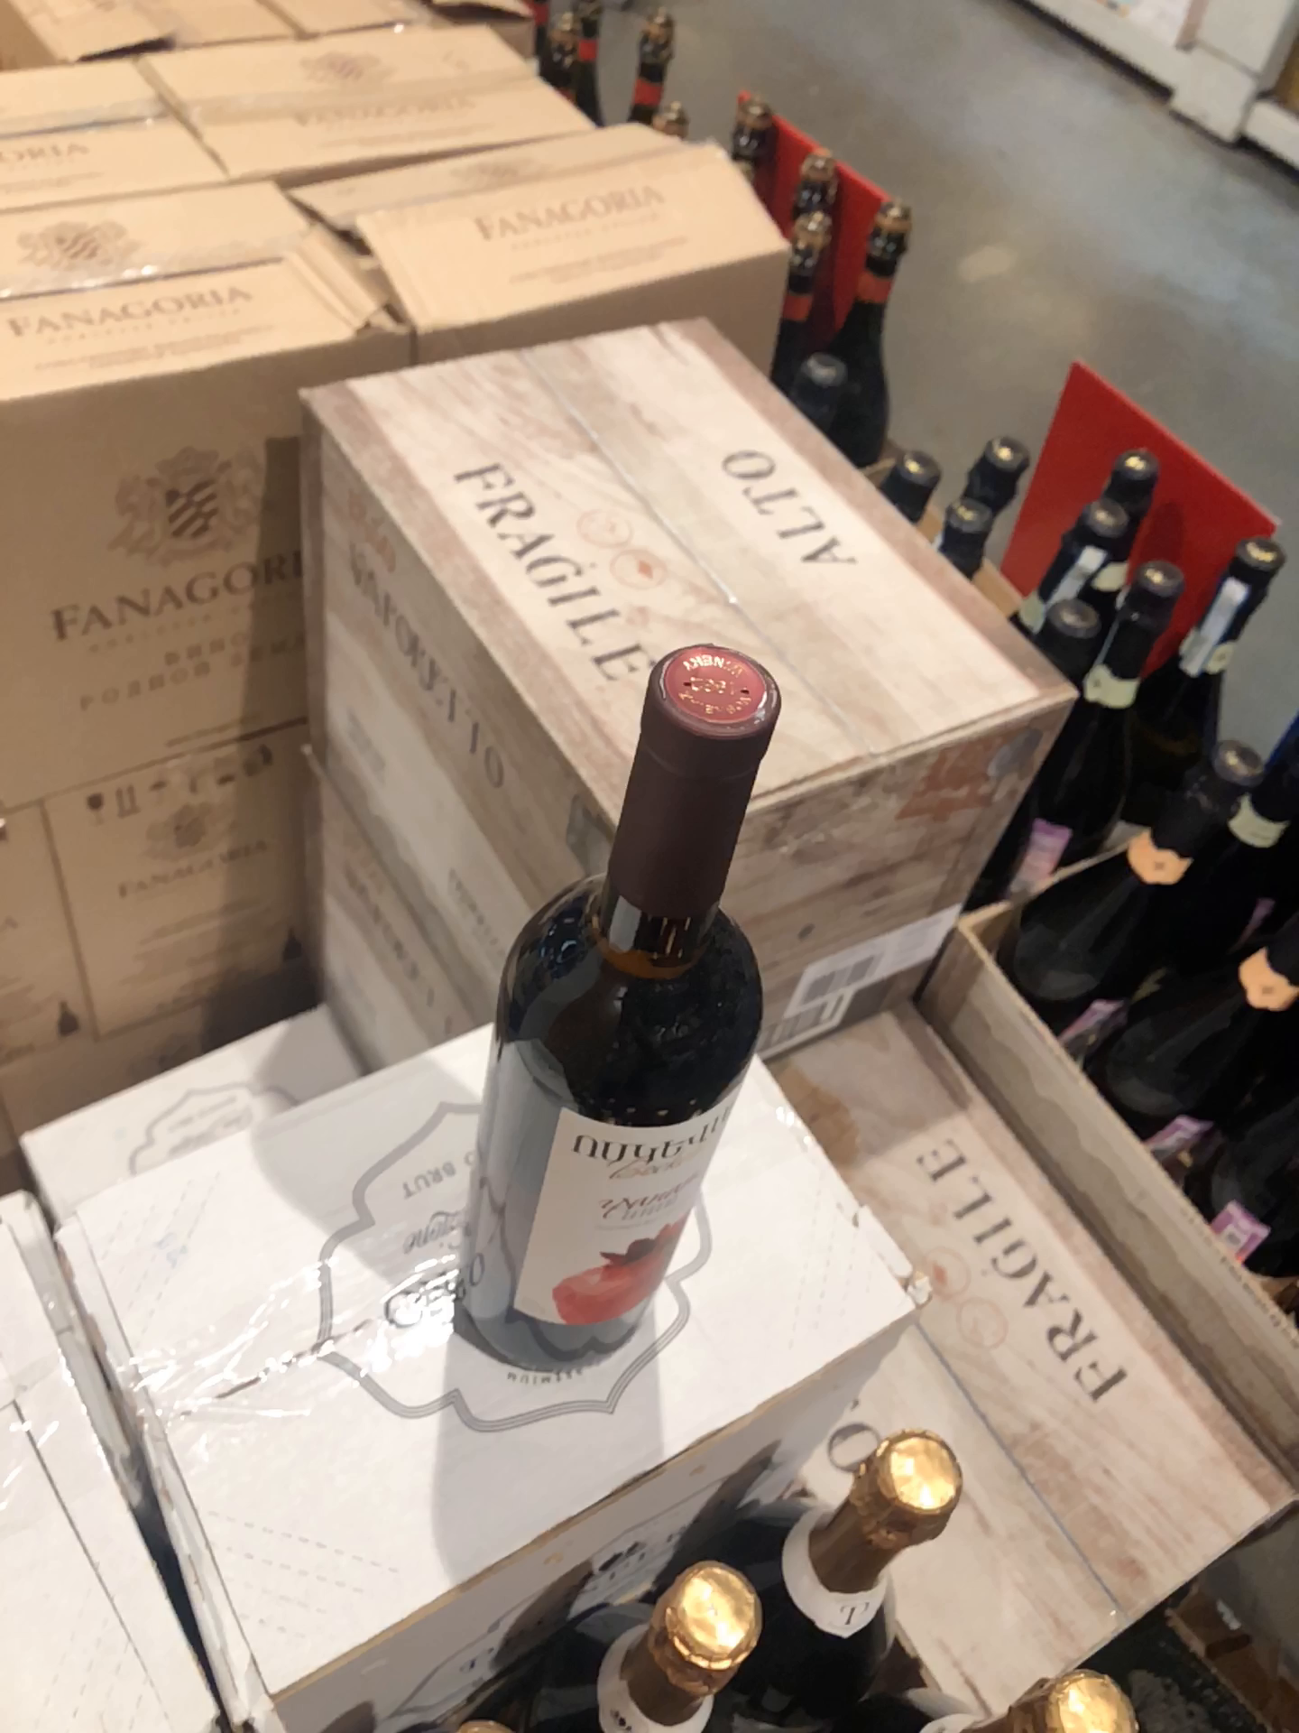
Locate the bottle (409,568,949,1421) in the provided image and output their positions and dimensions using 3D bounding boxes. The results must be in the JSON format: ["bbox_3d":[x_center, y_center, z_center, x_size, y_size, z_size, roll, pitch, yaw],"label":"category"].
[{"bbox_3d":[-0.014,0.060,0.430,0.090,0.298,0.080,-13,54,-20],"label":"bottle"}]
